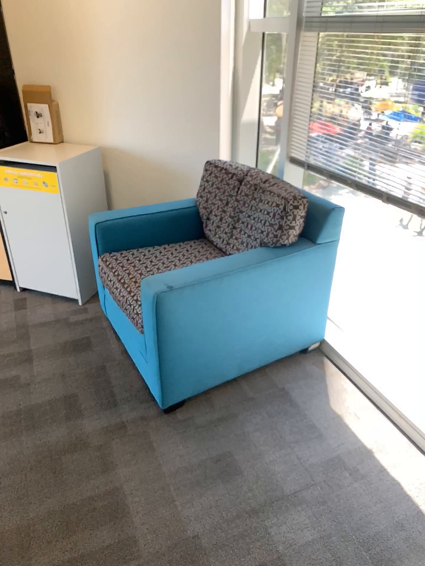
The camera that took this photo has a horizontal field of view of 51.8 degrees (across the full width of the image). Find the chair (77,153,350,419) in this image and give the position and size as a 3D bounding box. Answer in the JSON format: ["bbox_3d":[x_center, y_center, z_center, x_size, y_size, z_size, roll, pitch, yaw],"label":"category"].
[{"bbox_3d":[-0.048,-0.092,2.192,0.910,0.805,0.936,-15,33,-25],"label":"chair"}]
